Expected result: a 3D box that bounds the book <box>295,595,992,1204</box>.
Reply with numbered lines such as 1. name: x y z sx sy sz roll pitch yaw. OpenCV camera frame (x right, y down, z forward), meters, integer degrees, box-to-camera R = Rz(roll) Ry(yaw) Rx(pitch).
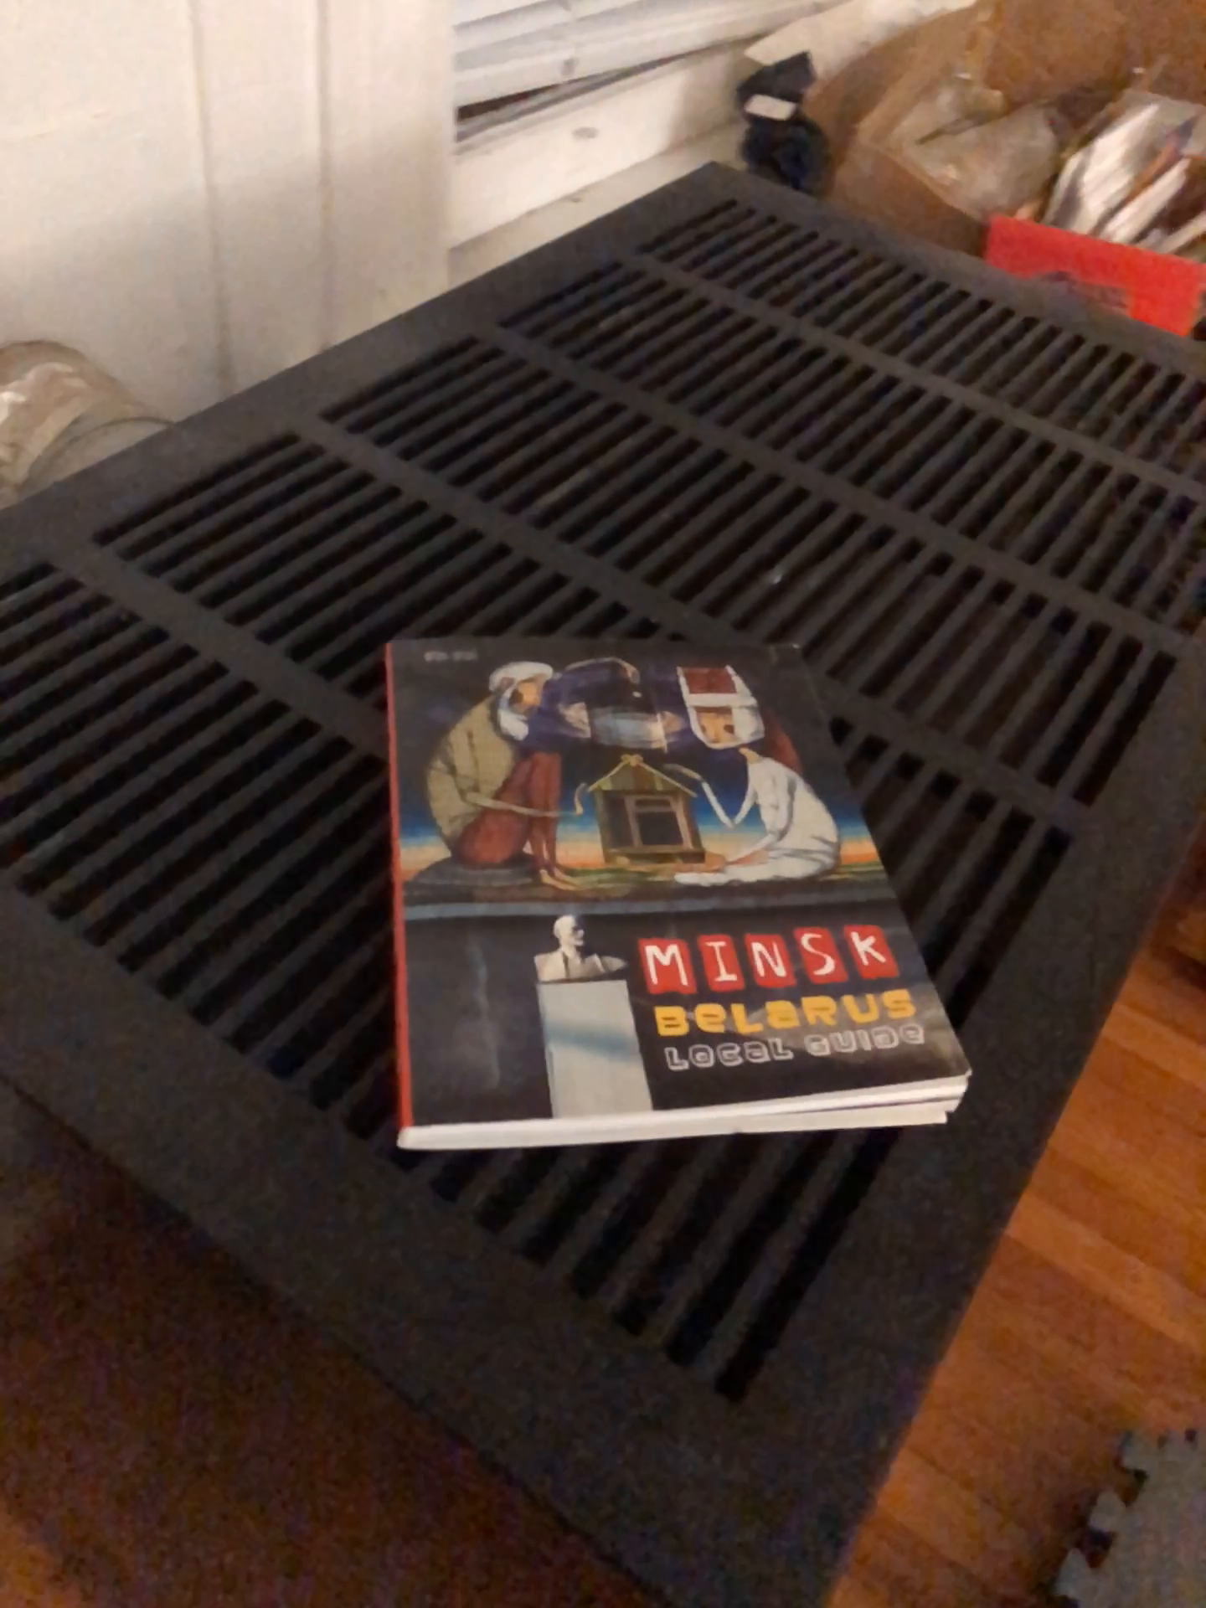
1. book: -0.001 0.011 0.376 0.160 0.020 0.201 -1 45 -10
